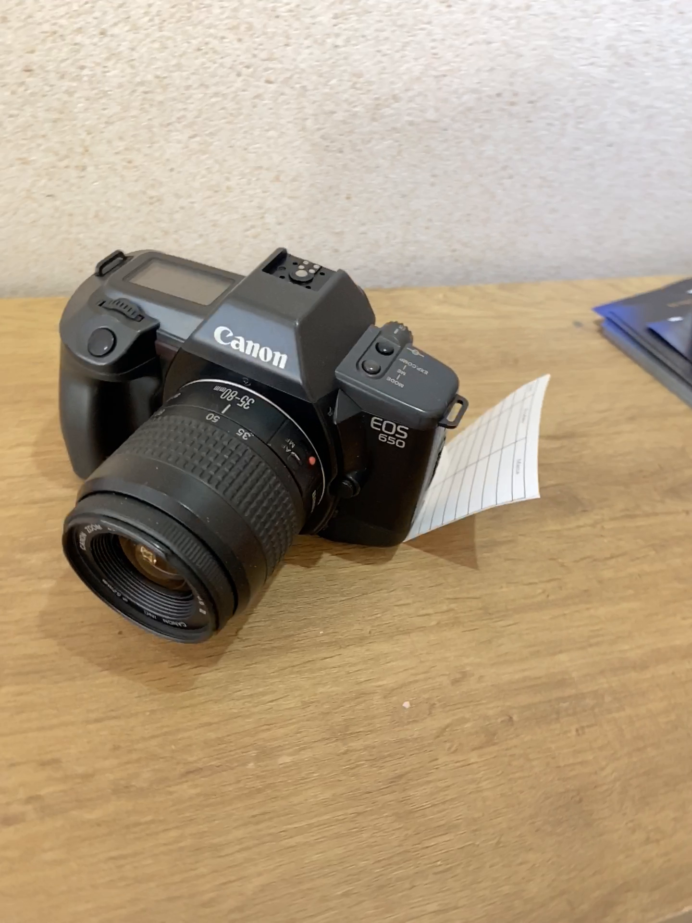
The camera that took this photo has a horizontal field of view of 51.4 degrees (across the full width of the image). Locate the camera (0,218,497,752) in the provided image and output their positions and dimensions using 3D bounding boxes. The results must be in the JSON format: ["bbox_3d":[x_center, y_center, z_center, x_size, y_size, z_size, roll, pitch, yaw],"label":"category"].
[{"bbox_3d":[-0.038,-0.002,0.277,0.140,0.099,0.141,20,44,13],"label":"camera"}]
